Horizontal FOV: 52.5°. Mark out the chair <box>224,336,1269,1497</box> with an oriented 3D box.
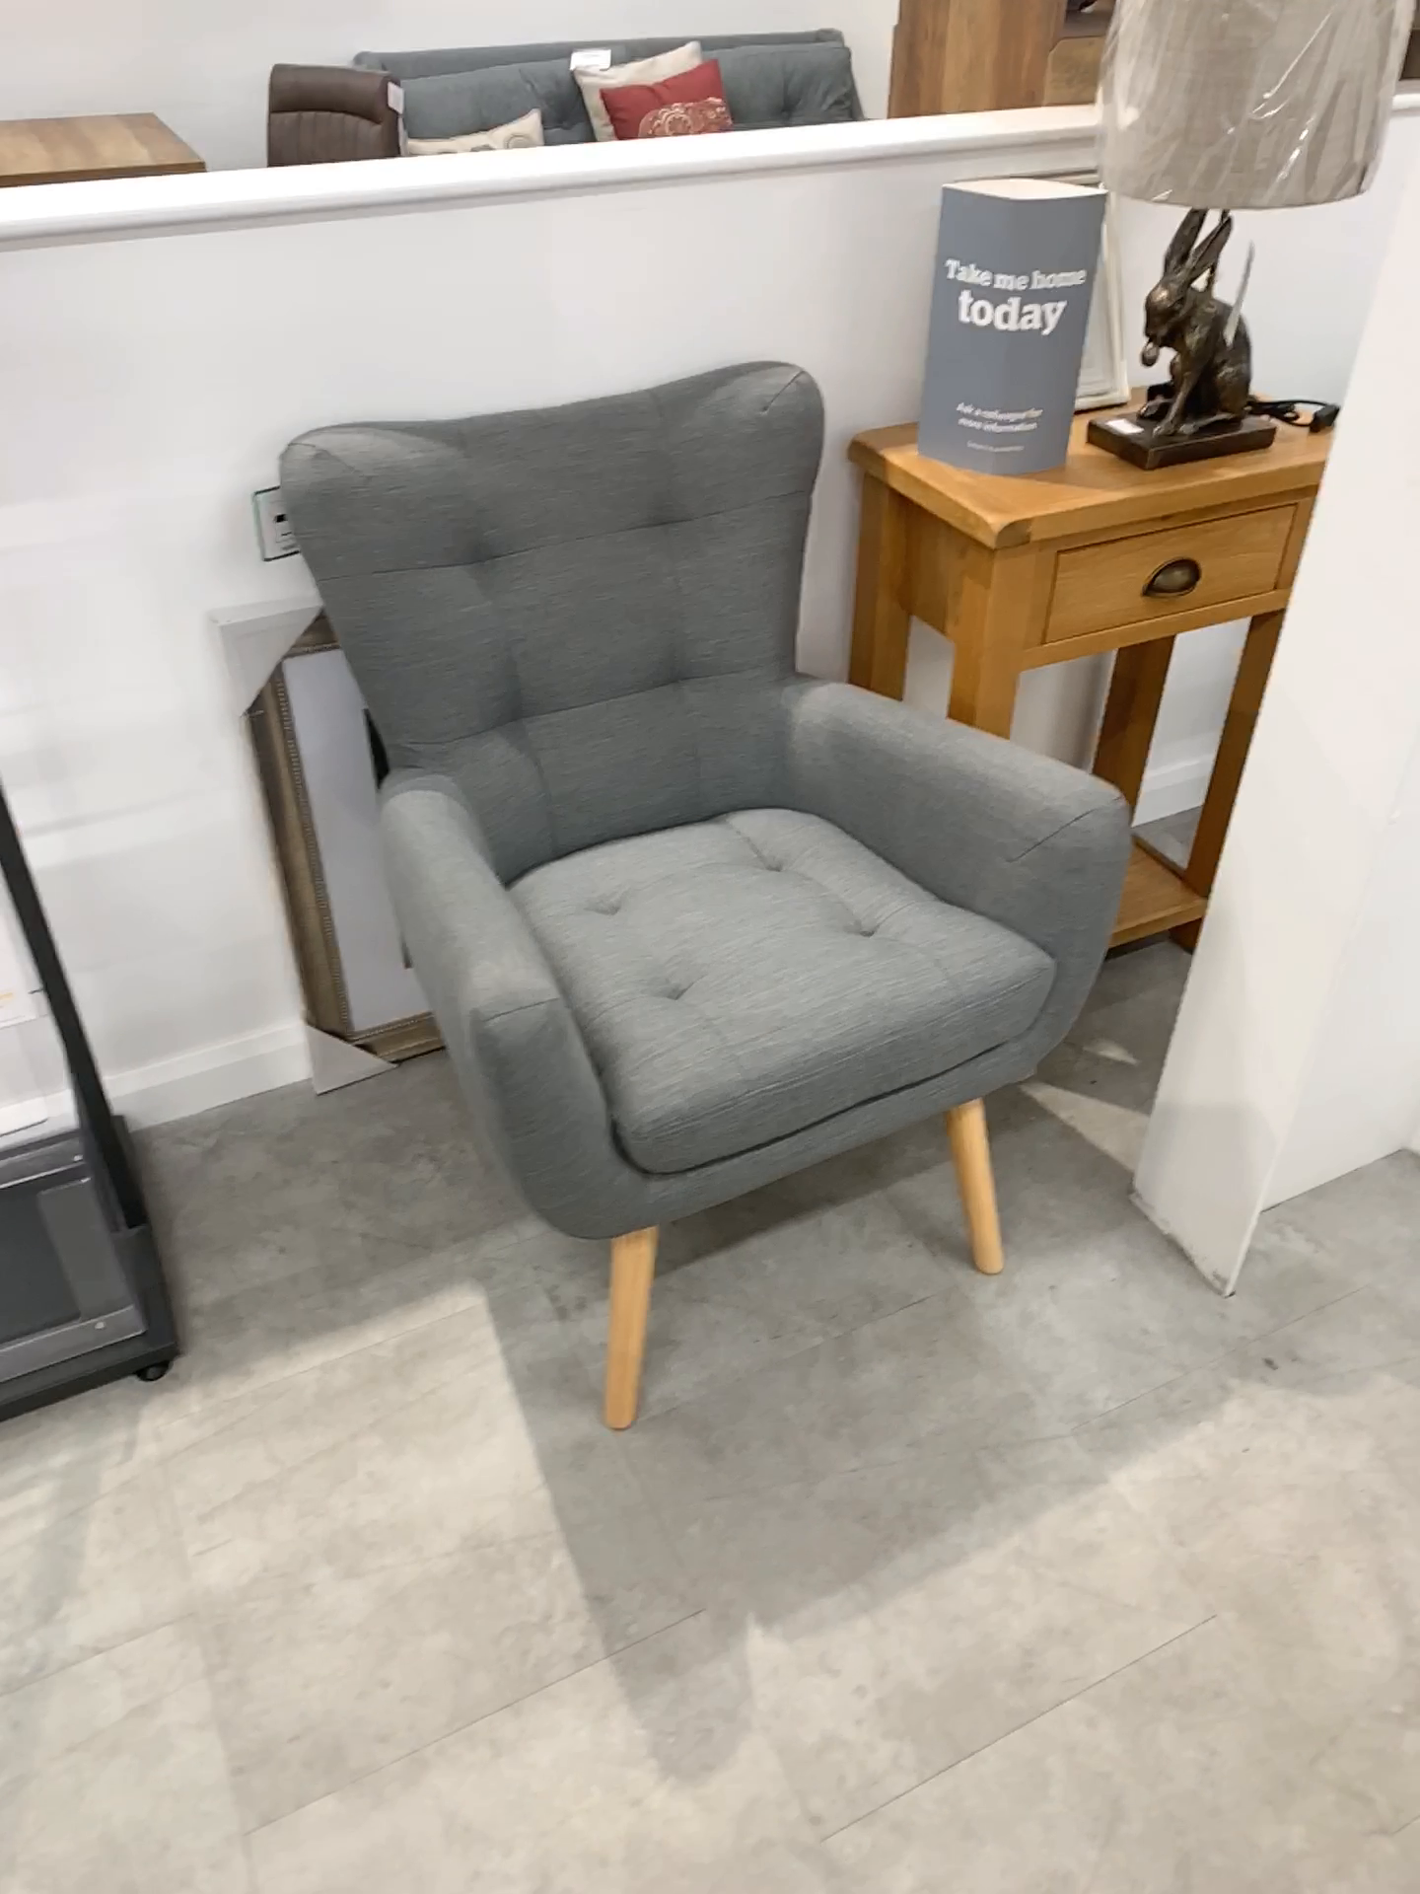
[{"bbox_3d":[0.005,-0.054,1.473,0.709,0.877,0.543,-17,40,-21],"label":"chair"}]
